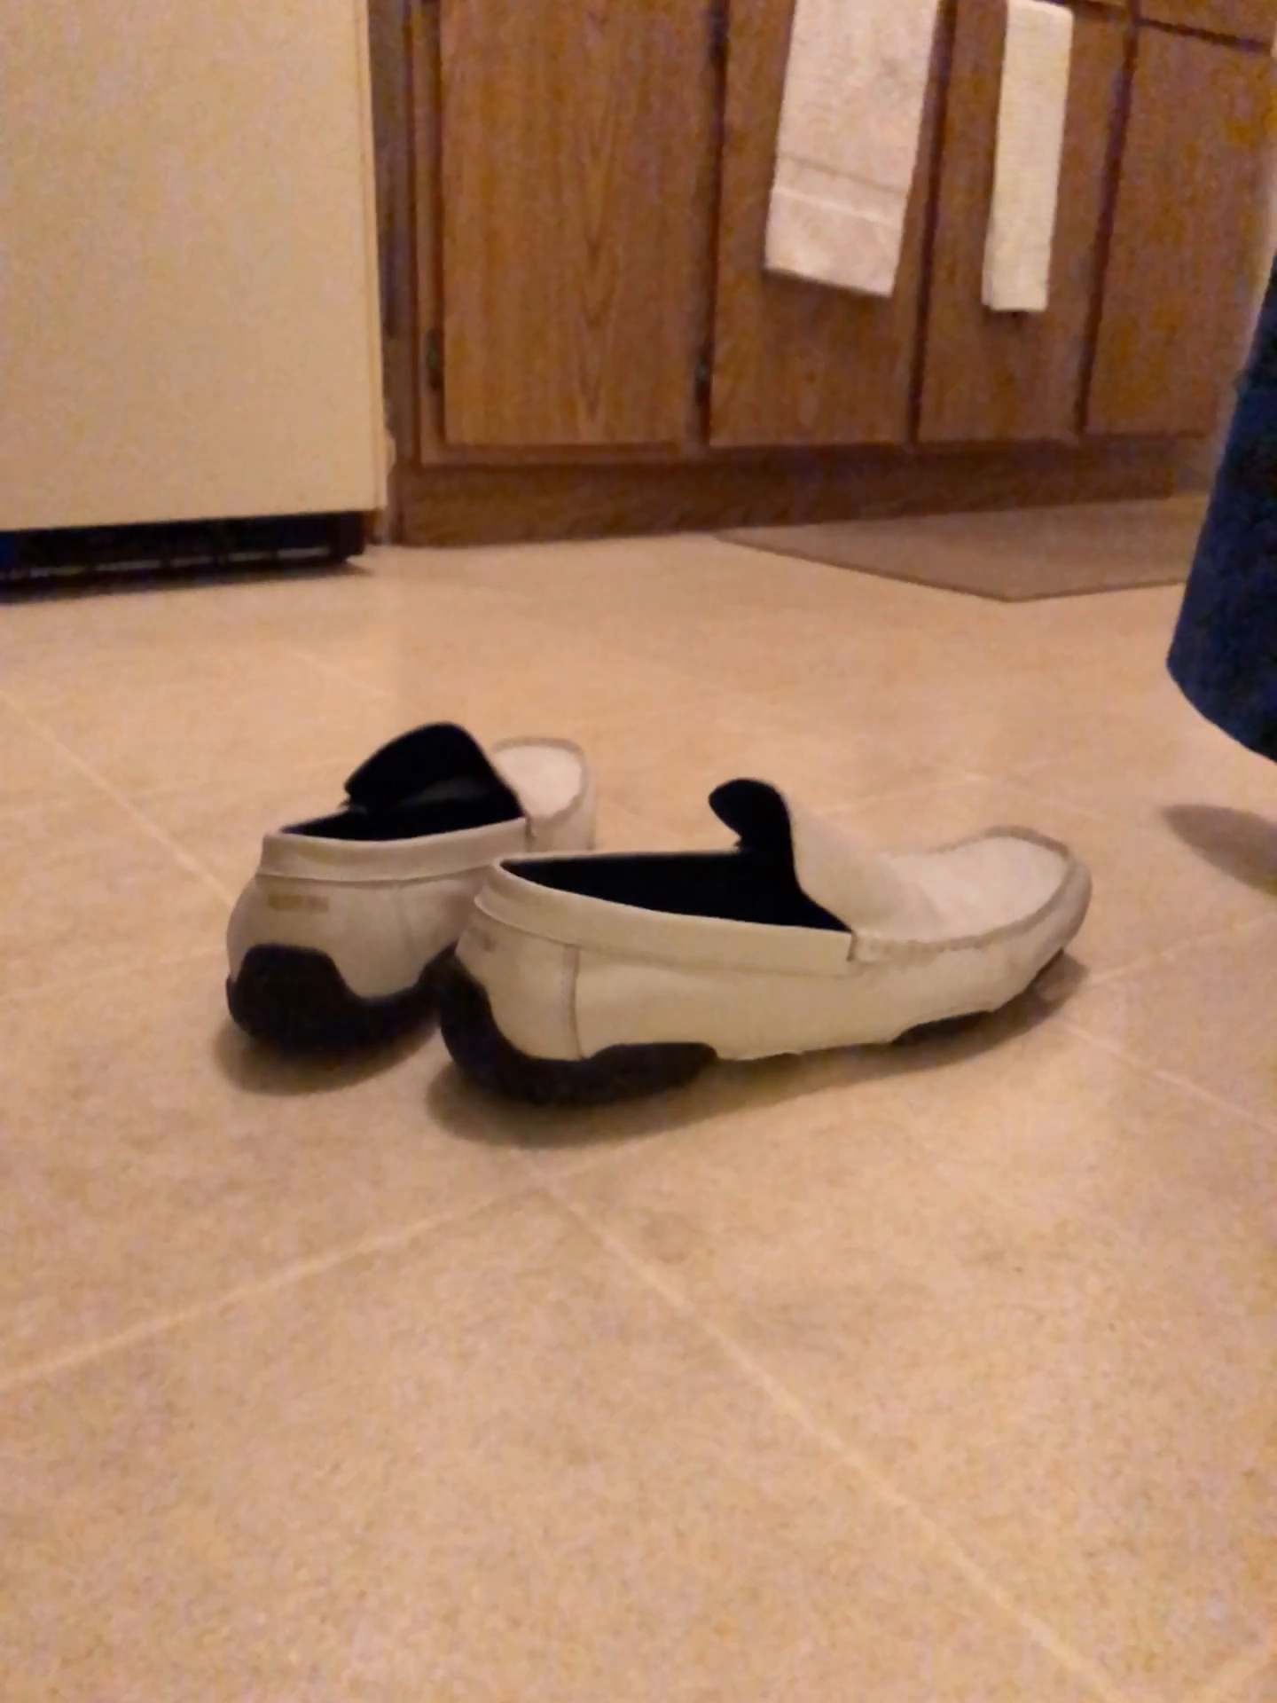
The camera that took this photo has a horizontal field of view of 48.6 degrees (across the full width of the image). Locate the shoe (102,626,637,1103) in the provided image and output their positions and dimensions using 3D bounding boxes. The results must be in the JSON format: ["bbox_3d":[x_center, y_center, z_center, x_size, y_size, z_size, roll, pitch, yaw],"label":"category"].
[{"bbox_3d":[-0.090,-0.017,0.614,0.110,0.097,0.308,6,21,12],"label":"shoe"}]

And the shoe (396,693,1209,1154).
[{"bbox_3d":[0.065,0.012,0.543,0.290,0.097,0.111,-9,22,-26],"label":"shoe"}]
